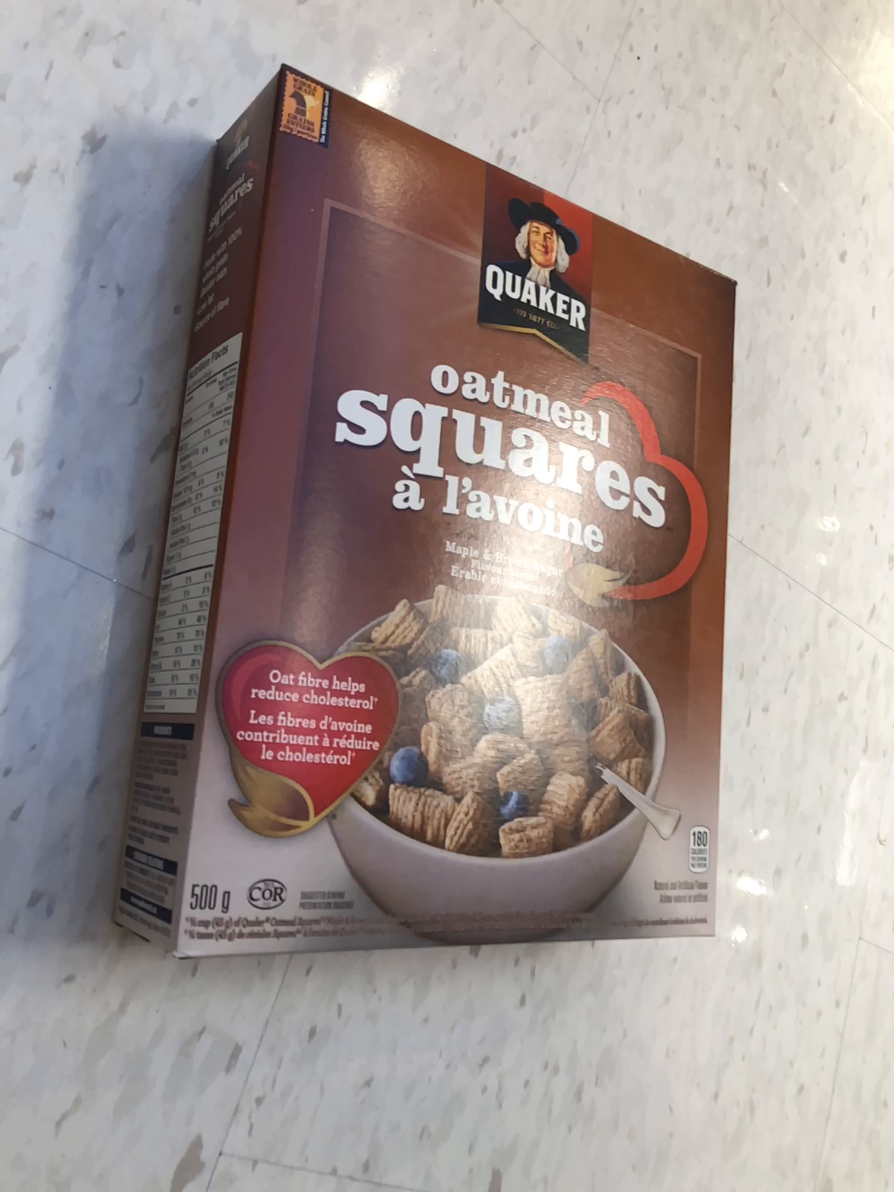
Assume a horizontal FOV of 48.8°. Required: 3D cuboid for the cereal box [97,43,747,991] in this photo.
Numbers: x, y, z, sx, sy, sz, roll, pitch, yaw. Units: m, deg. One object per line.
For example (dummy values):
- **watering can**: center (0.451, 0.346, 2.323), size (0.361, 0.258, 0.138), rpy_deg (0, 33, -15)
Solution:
- **cereal box**: center (0.008, -0.013, 0.357), size (0.211, 0.070, 0.270), rpy_deg (11, 78, -33)
